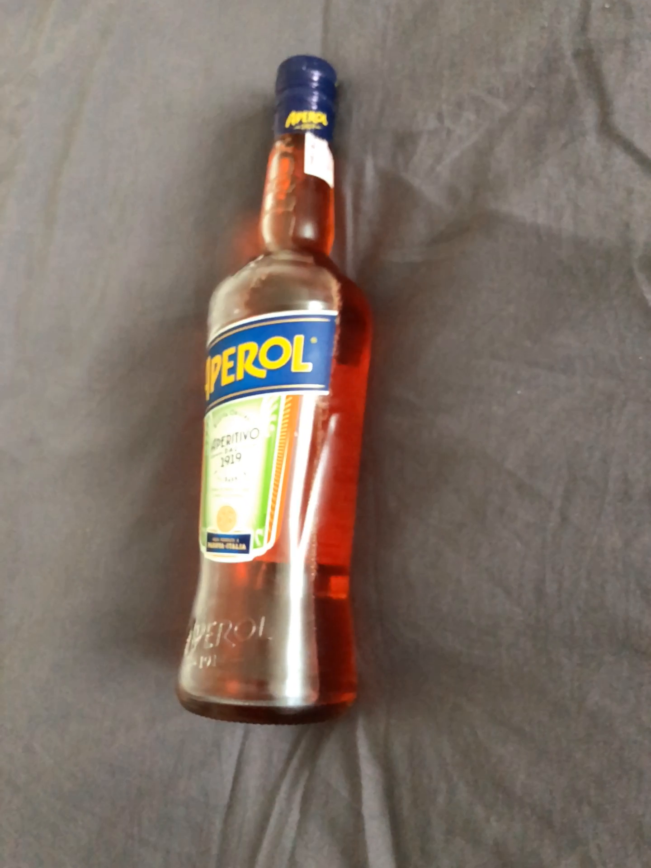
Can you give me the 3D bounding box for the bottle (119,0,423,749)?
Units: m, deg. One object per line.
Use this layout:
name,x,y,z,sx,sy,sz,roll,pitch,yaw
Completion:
bottle,-0.021,-0.040,0.336,0.100,0.070,0.320,-4,78,39
